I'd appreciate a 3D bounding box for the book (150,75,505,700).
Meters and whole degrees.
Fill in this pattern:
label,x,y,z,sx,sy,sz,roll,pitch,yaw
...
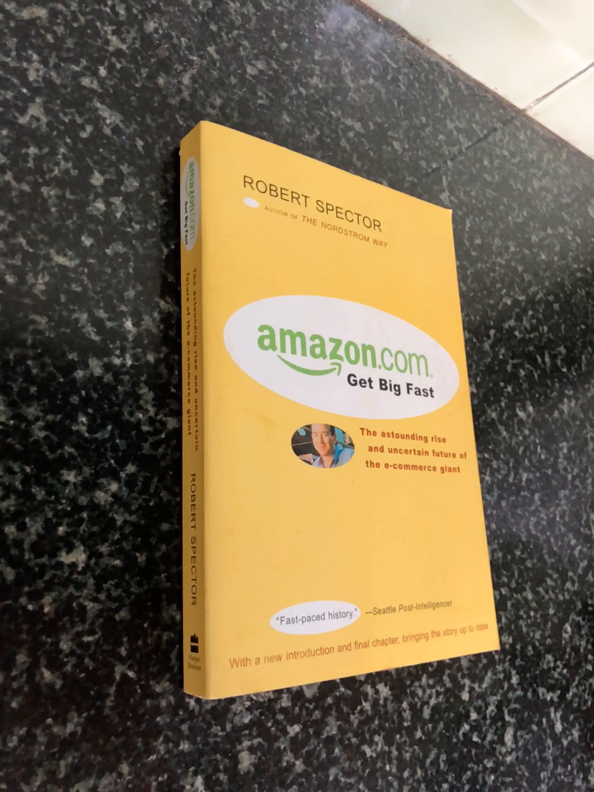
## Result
label,x,y,z,sx,sy,sz,roll,pitch,yaw
book,0.014,-0.004,0.267,0.141,0.030,0.210,8,72,-35
